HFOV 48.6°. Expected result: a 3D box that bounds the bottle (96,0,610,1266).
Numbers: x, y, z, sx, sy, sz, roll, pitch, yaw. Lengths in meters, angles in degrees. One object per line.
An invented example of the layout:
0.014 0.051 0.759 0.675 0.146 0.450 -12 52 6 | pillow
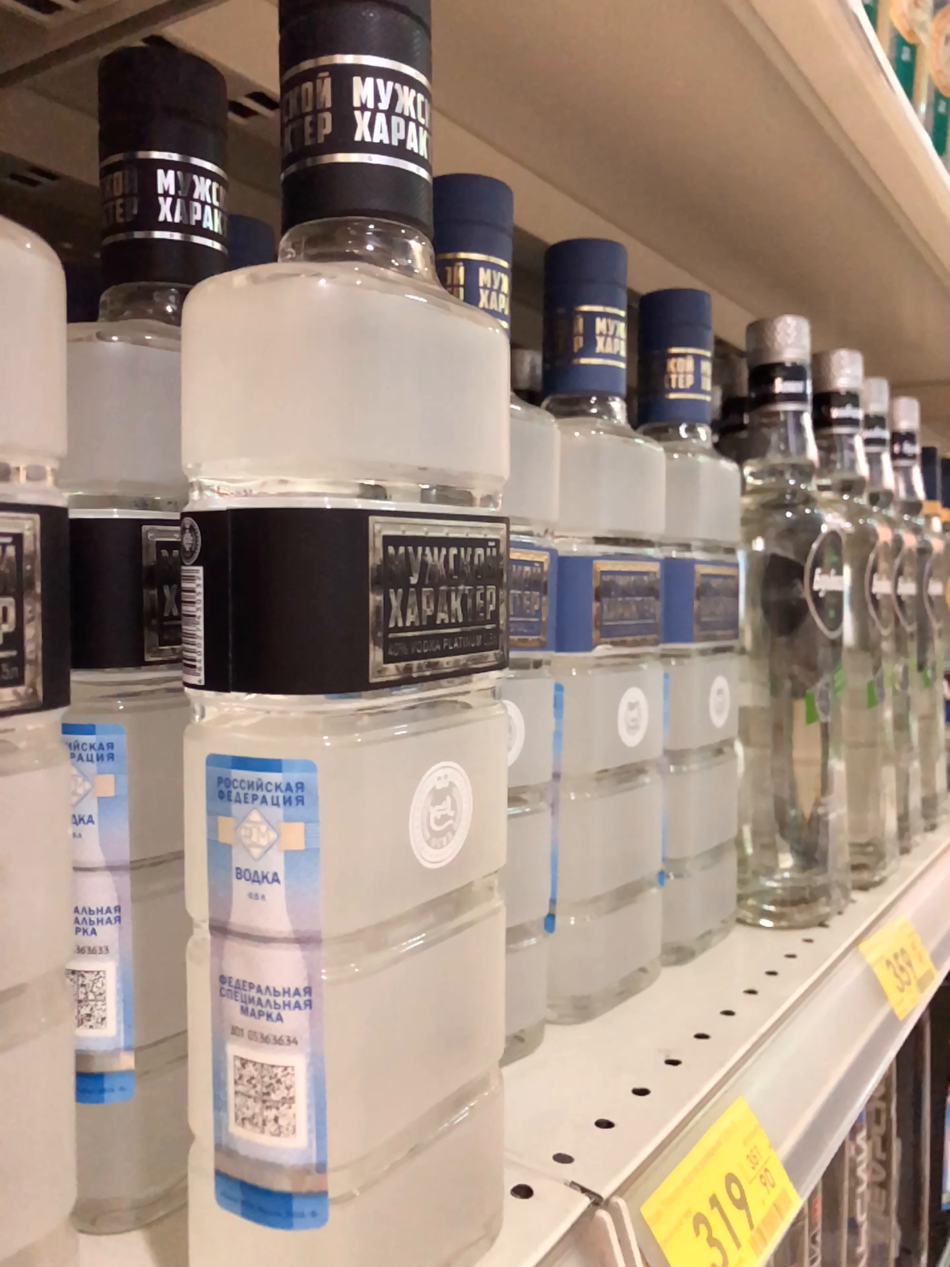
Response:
-0.023 -0.001 0.230 0.060 0.290 0.090 3 3 33 | bottle
